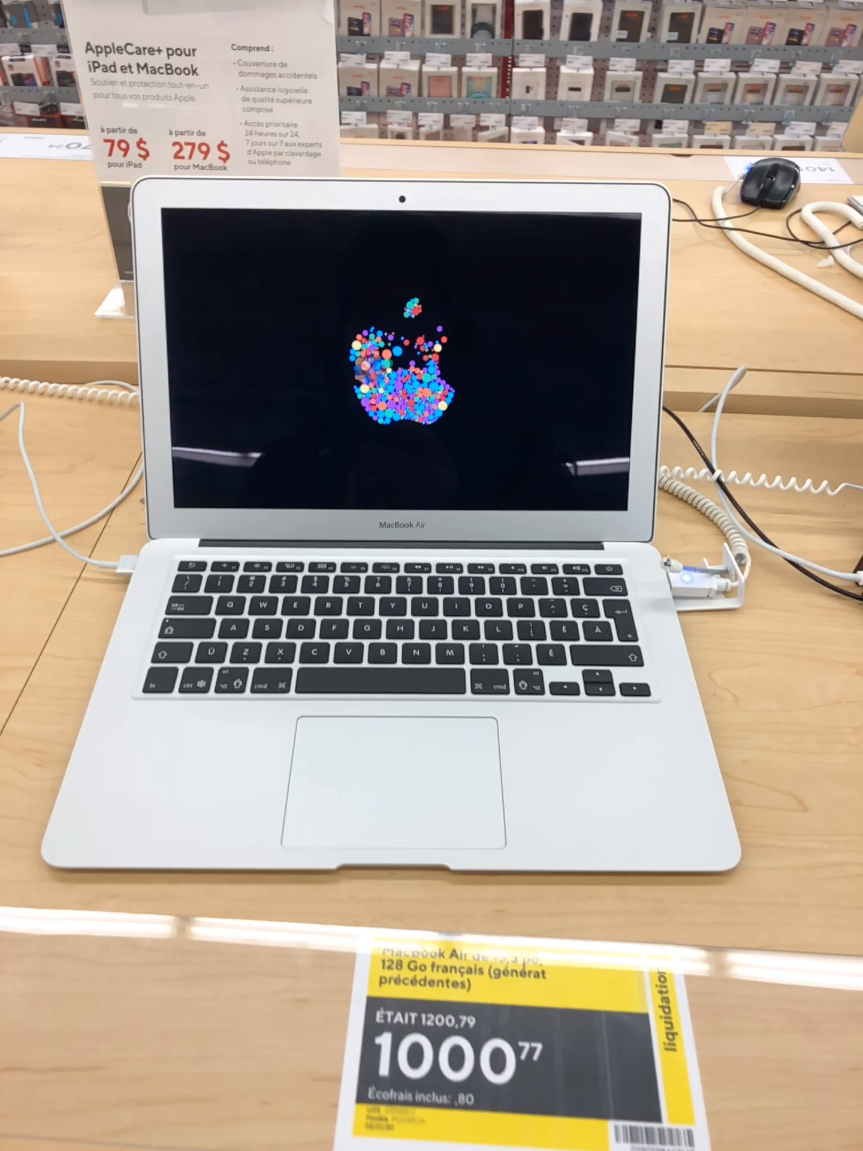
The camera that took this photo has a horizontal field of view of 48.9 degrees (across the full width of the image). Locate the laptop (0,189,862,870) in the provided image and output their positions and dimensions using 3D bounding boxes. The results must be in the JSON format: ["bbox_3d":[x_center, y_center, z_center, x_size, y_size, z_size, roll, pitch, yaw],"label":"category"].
[{"bbox_3d":[-0.017,-0.047,0.484,0.305,0.186,0.326,0,40,-2],"label":"laptop"}]
